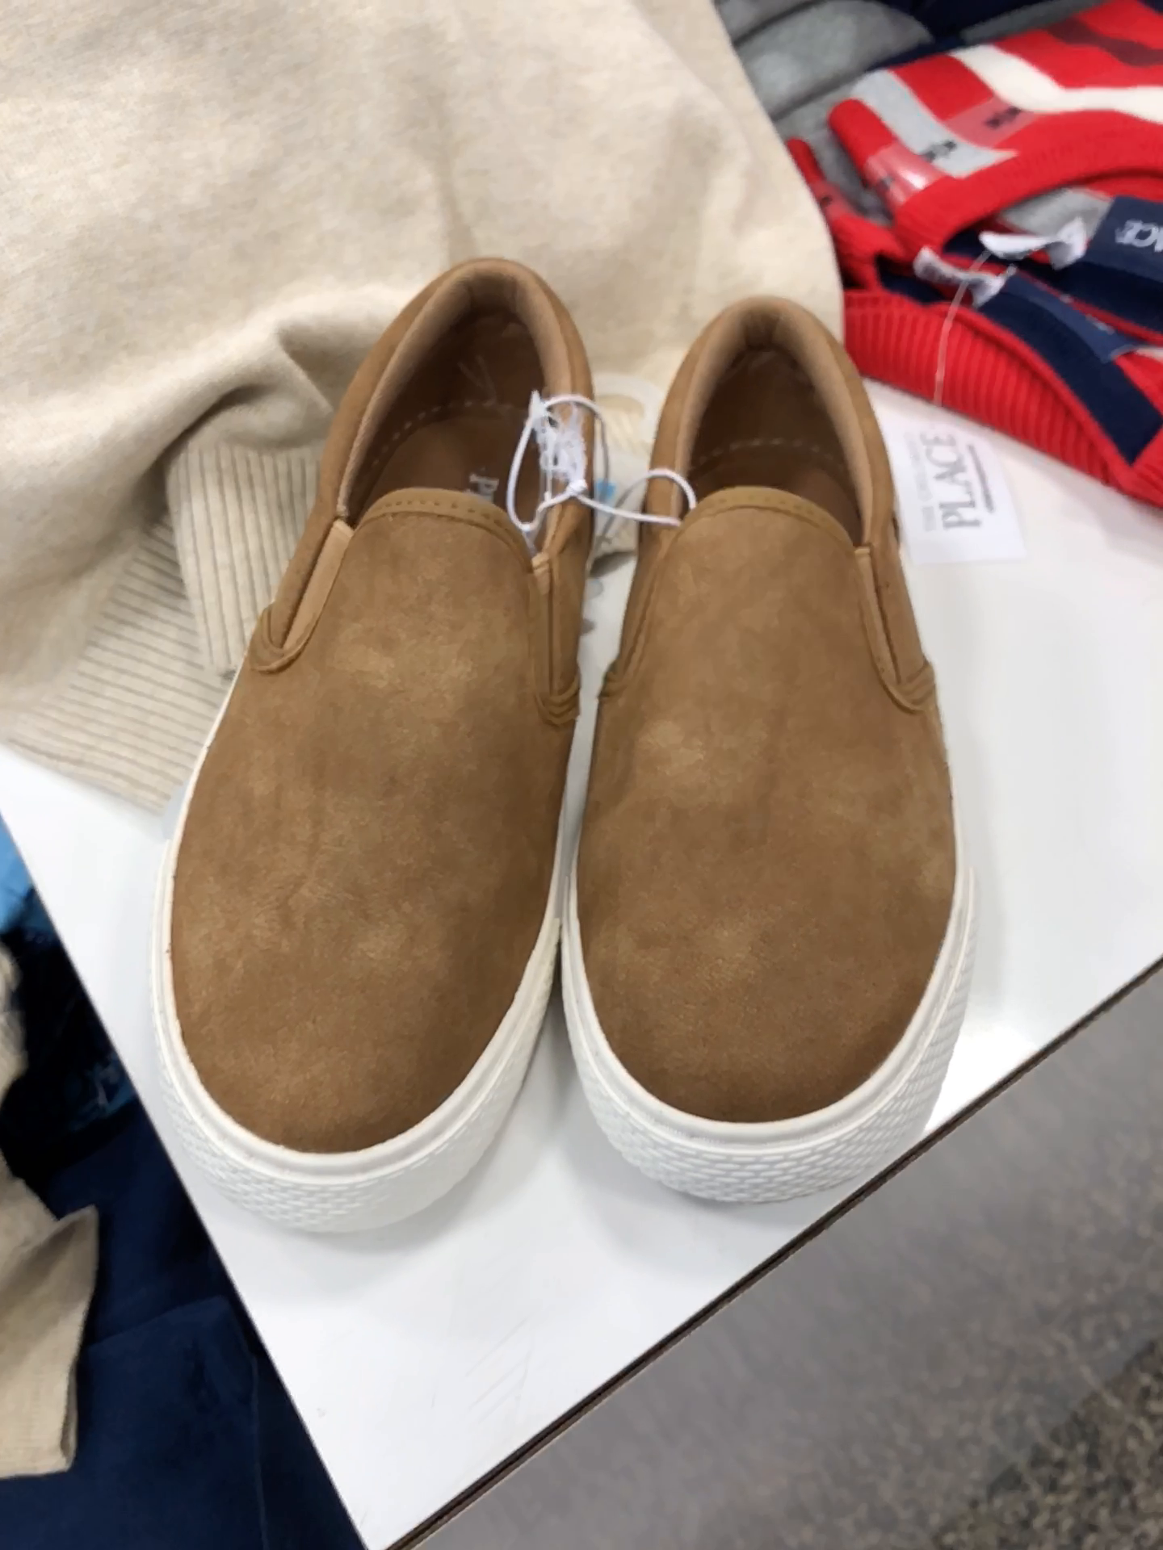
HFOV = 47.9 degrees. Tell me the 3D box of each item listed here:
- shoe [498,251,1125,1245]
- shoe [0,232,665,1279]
[{"bbox_3d":[0.043,-0.024,0.300,0.092,0.080,0.231,1,49,5],"label":"shoe"},{"bbox_3d":[-0.041,-0.025,0.289,0.092,0.080,0.231,5,50,8],"label":"shoe"}]
